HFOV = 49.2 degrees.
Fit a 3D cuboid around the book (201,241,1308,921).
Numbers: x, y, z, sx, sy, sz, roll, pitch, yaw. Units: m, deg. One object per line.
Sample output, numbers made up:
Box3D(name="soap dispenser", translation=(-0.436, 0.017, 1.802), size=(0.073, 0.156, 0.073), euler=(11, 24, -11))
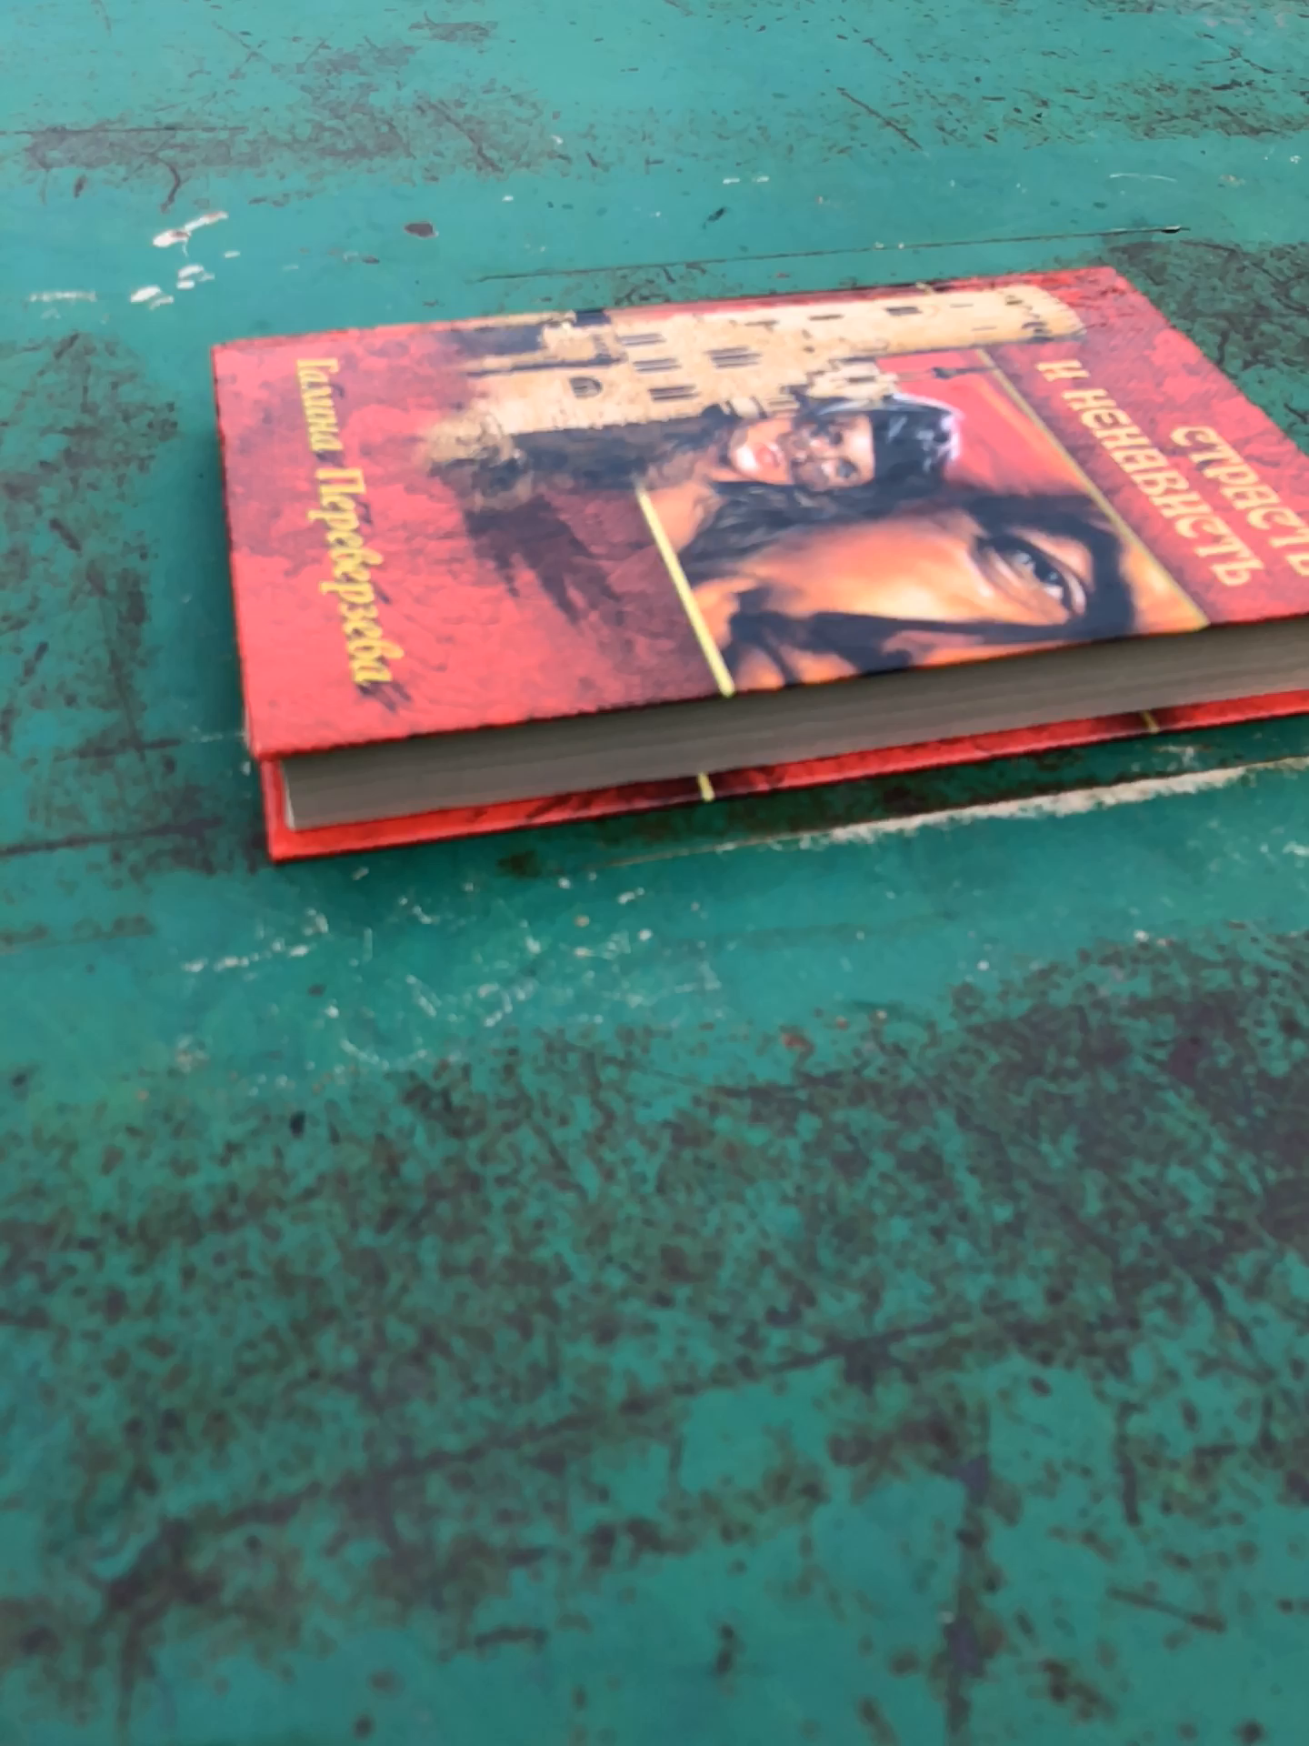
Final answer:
Box3D(name="book", translation=(0.023, -0.071, 0.286), size=(0.210, 0.030, 0.144), euler=(-9, 50, -11))
